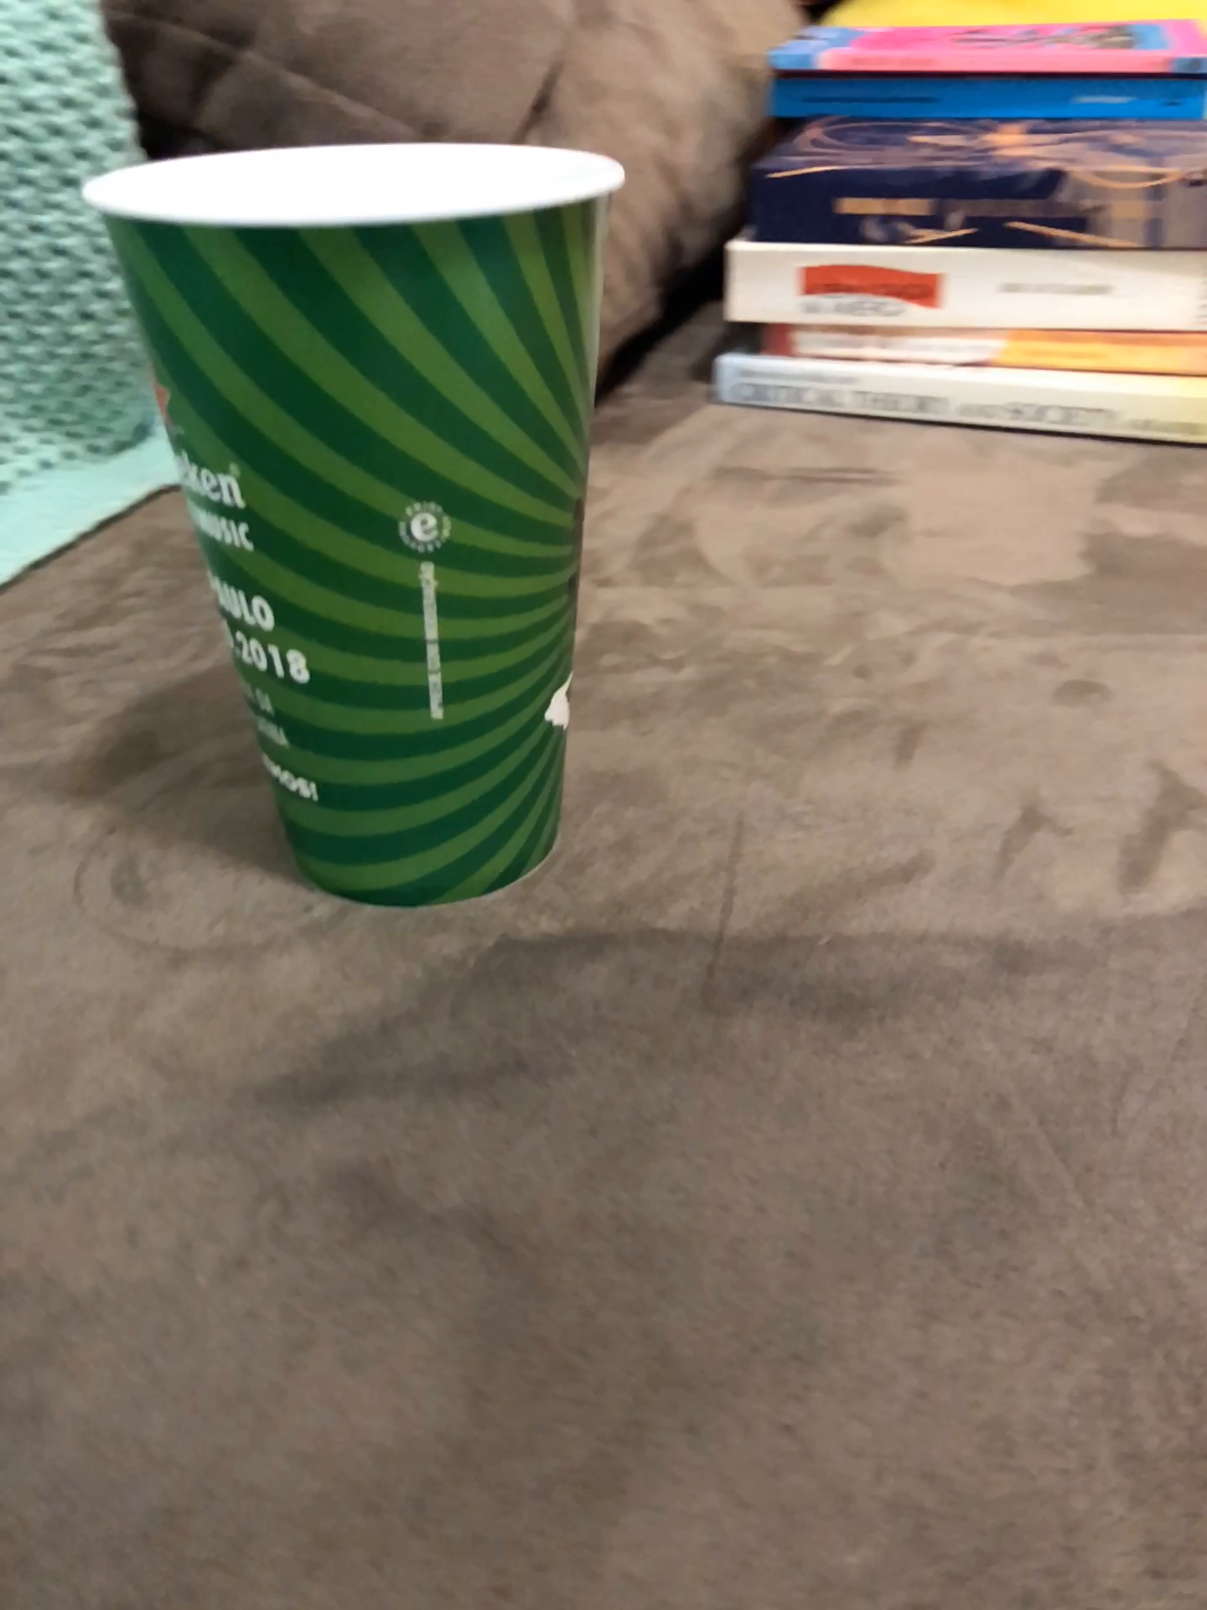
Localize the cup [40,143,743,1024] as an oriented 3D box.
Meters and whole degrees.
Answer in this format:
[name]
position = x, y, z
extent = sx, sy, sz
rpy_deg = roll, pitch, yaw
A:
[cup]
position = -0.040, -0.050, 0.261
extent = 0.100, 0.129, 0.101
rpy_deg = -2, 31, 1
